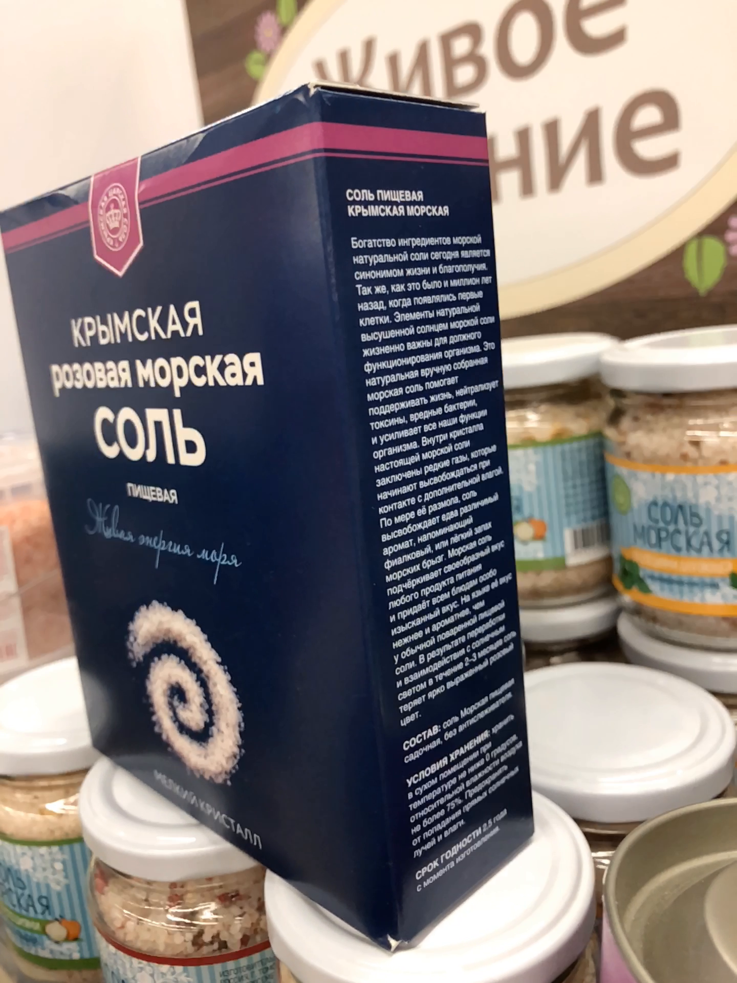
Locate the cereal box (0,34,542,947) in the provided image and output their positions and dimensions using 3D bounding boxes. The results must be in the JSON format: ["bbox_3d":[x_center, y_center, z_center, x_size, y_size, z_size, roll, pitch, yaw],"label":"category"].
[{"bbox_3d":[-0.027,-0.002,0.189,0.040,0.149,0.120,-17,16,-42],"label":"cereal box"}]
